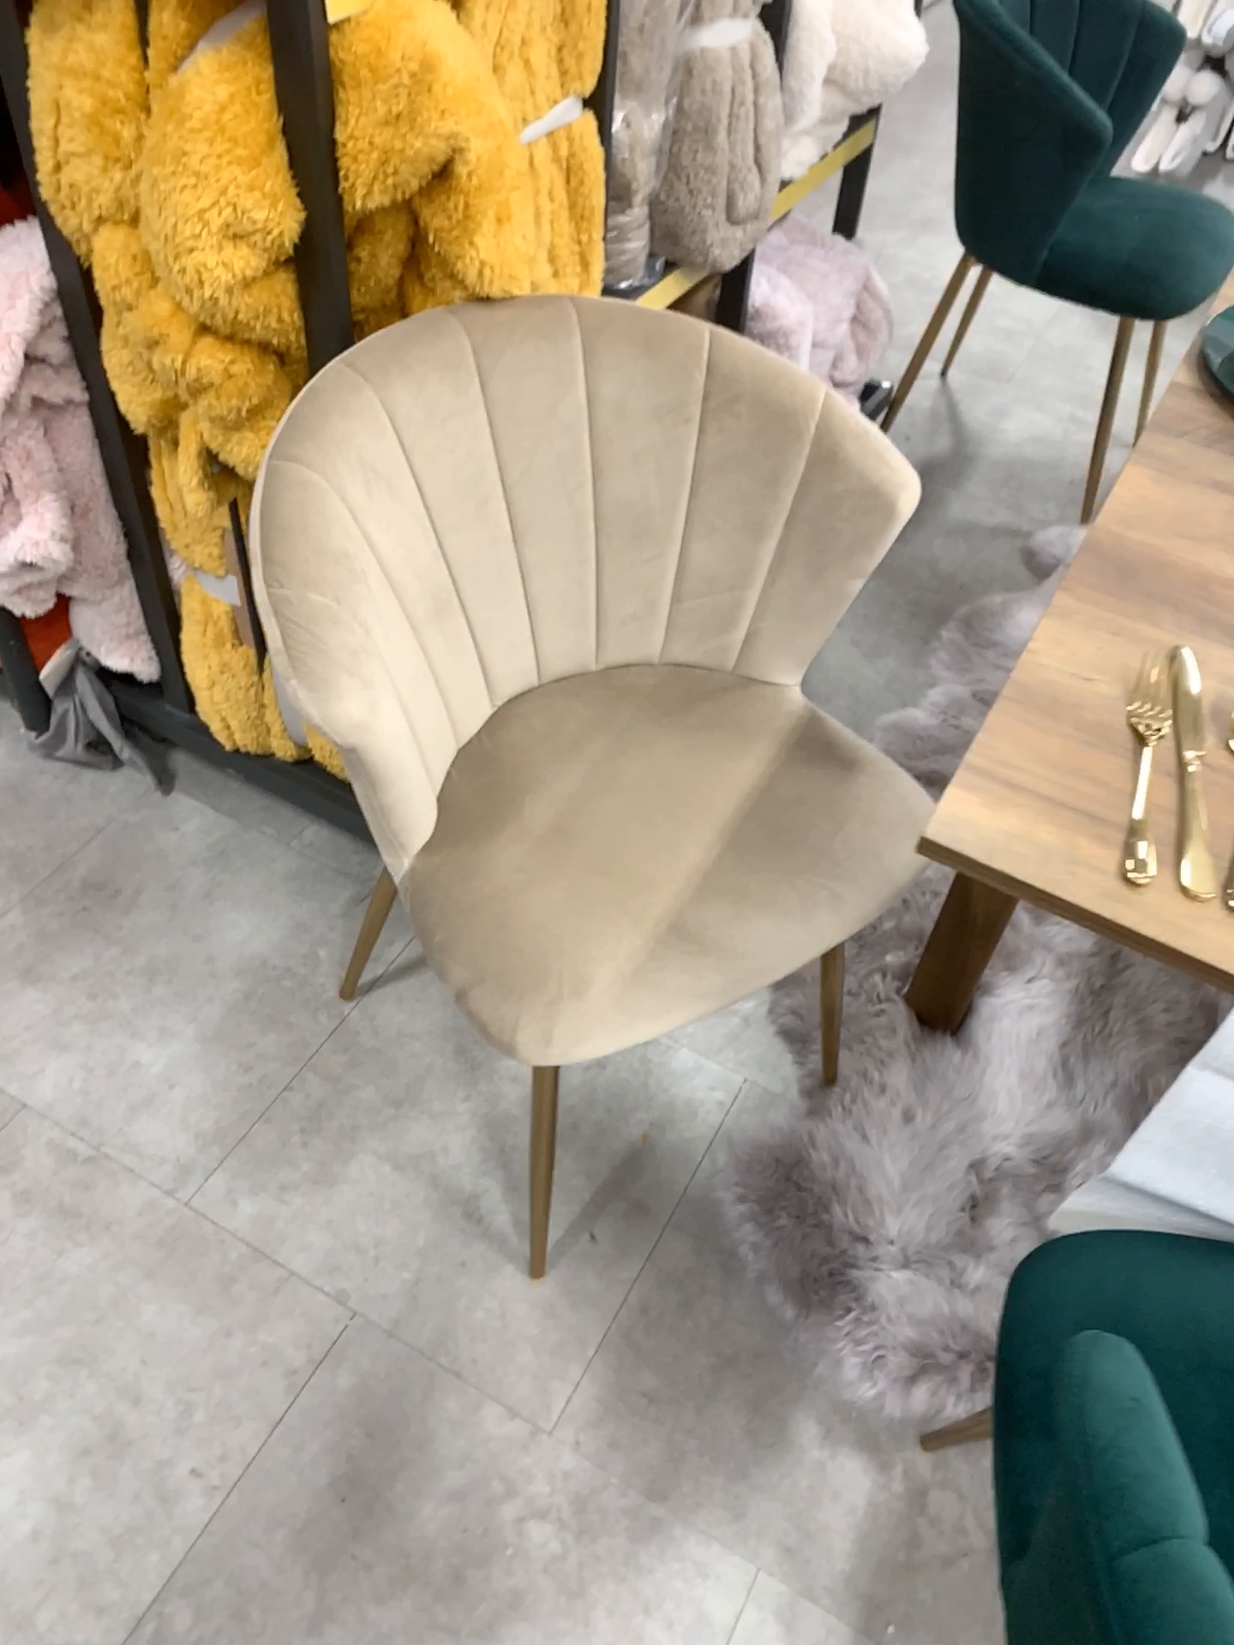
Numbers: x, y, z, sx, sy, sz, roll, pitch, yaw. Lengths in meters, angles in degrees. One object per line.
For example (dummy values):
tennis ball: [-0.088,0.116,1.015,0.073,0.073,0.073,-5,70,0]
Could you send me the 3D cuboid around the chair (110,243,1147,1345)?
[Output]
chair: [-0.026,-0.026,1.193,0.562,0.722,0.538,-25,54,-25]
